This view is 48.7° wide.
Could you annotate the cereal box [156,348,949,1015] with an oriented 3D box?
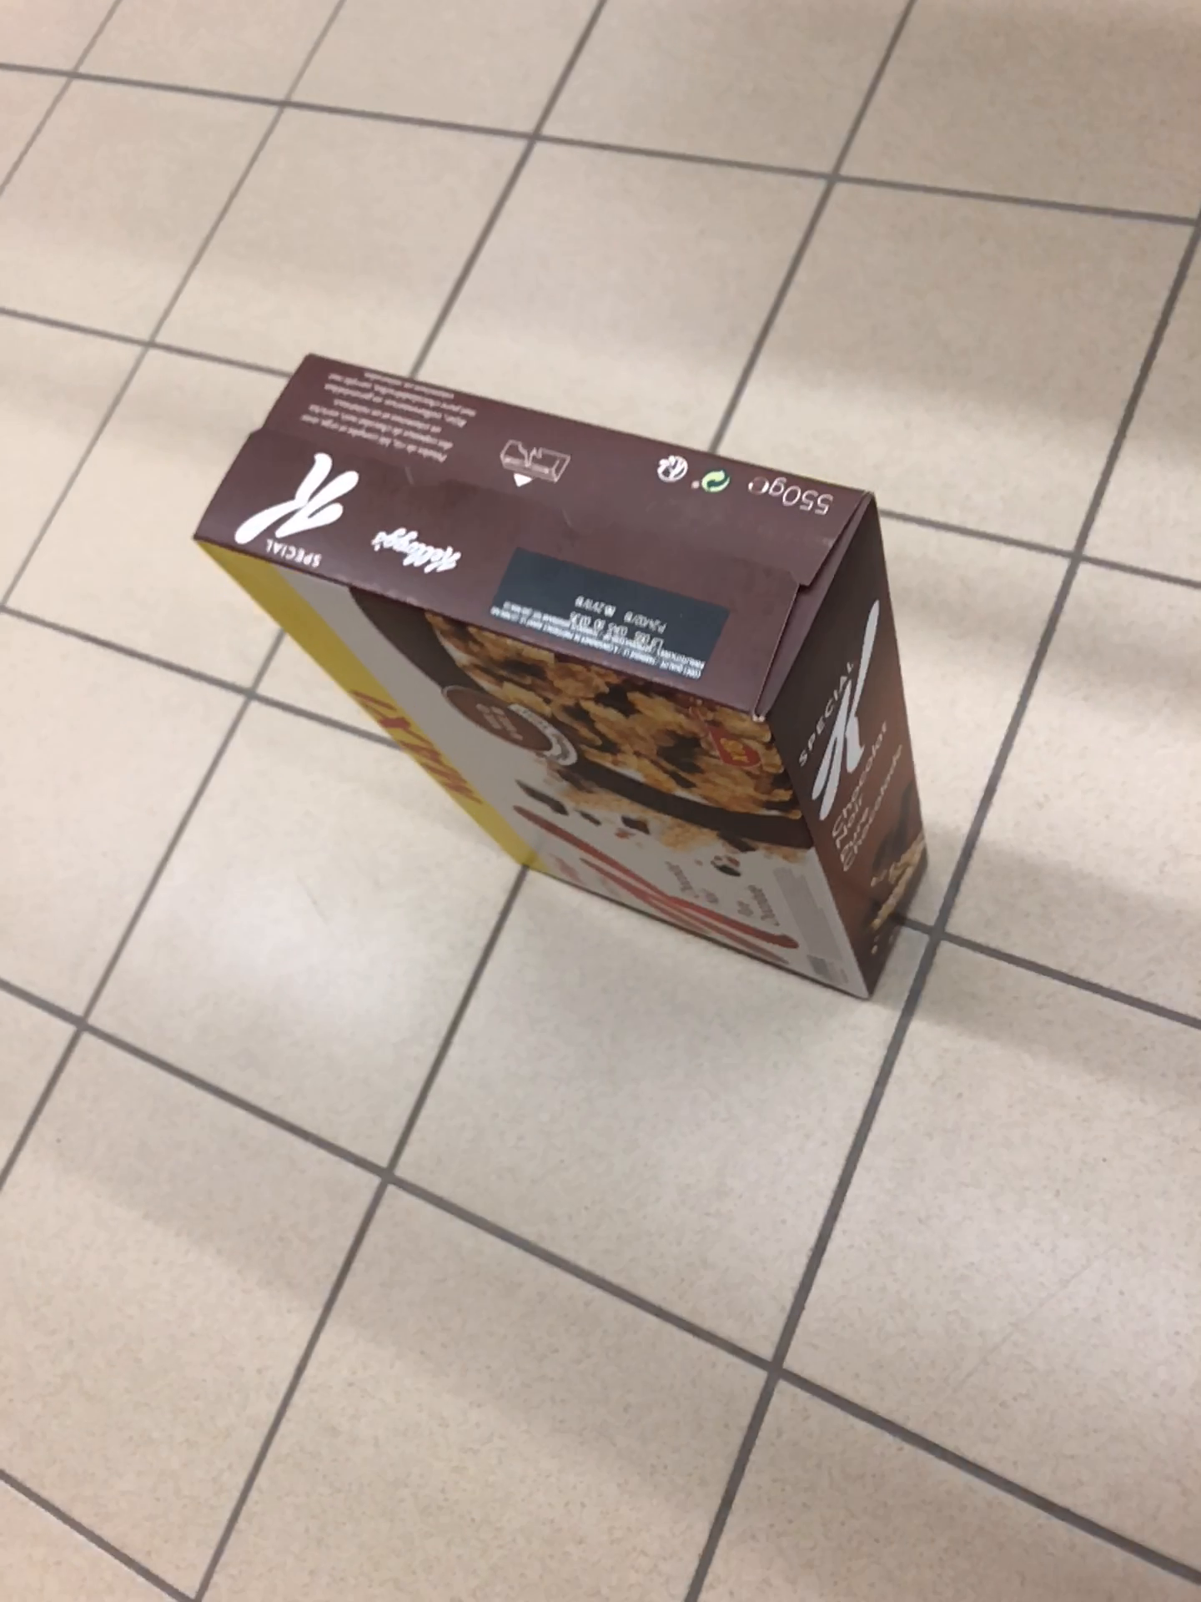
[{"bbox_3d":[0.013,-0.024,0.498,0.210,0.299,0.070,17,73,22],"label":"cereal box"}]
